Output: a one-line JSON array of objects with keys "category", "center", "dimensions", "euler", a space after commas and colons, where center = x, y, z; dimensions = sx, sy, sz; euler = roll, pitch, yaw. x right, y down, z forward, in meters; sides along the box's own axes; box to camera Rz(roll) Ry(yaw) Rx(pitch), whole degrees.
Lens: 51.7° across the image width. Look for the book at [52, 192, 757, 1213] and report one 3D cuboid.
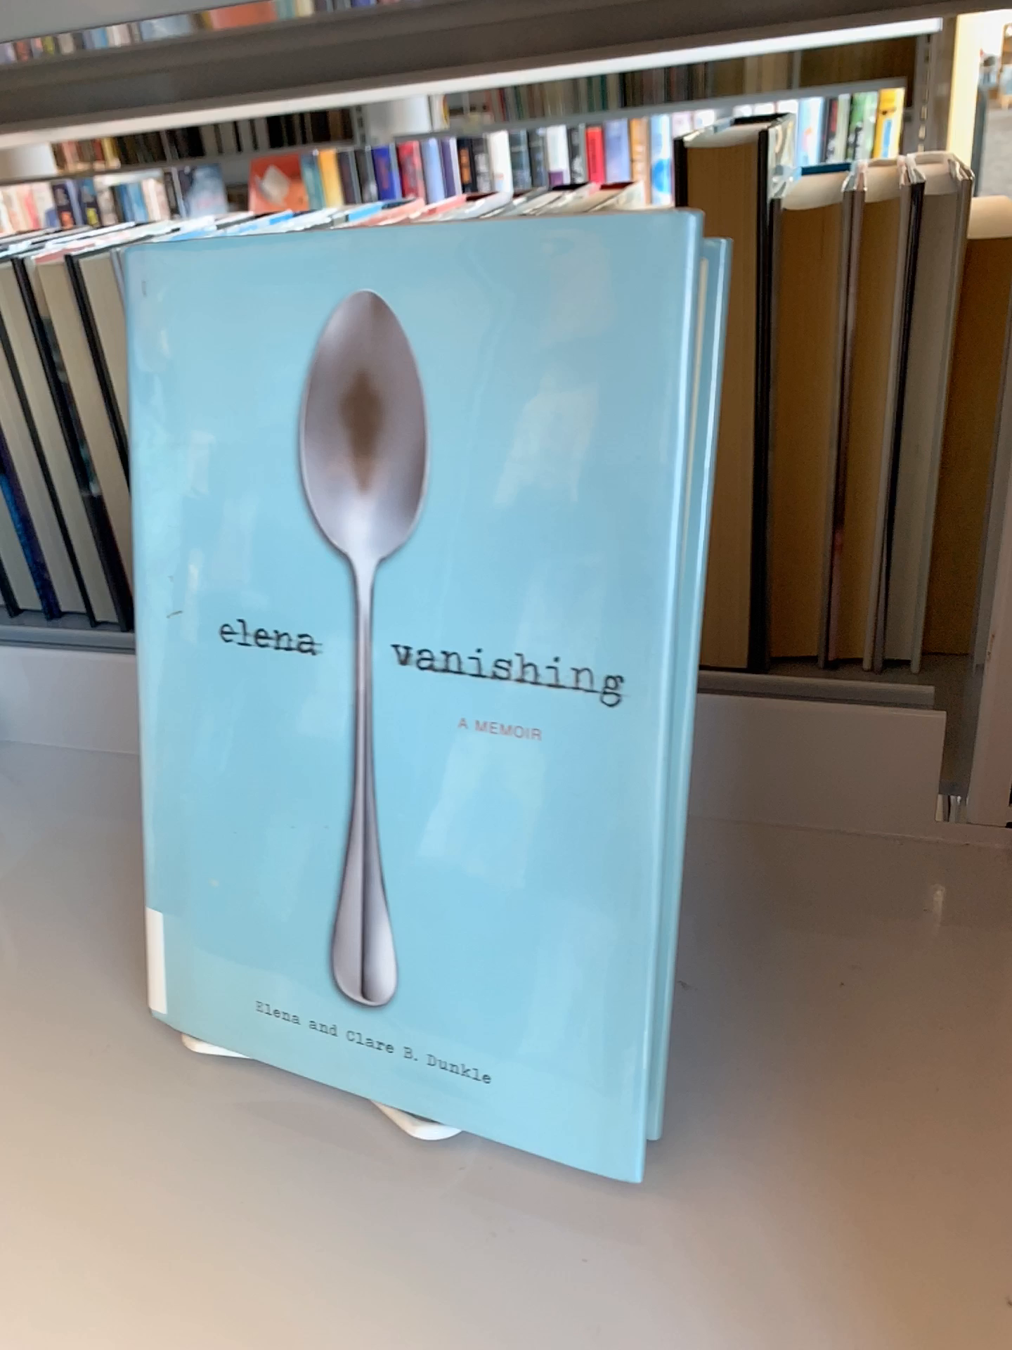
[{"category": "book", "center": [-0.031, 0.003, 0.251], "dimensions": [0.159, 0.203, 0.035], "euler": [8, 14, 25]}]
